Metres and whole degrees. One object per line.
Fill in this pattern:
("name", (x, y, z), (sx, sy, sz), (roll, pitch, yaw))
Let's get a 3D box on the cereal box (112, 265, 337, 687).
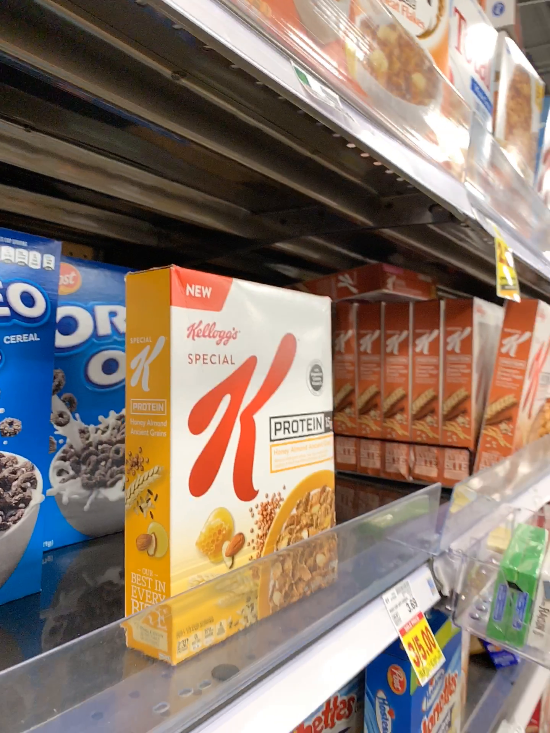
("cereal box", (-0.026, 0.065, 0.431), (0.040, 0.250, 0.200), (-3, -2, 38))
